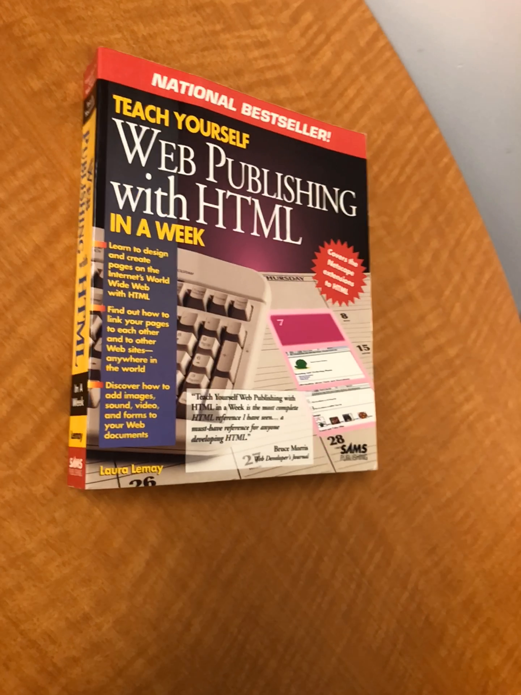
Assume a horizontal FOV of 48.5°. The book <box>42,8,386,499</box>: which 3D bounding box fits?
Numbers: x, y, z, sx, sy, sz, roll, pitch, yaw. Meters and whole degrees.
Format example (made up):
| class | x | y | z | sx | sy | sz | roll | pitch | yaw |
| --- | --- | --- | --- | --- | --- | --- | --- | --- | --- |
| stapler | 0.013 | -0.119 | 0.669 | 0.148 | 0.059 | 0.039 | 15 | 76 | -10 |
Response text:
| class | x | y | z | sx | sy | sz | roll | pitch | yaw |
| --- | --- | --- | --- | --- | --- | --- | --- | --- | --- |
| book | -0.016 | -0.044 | 0.359 | 0.211 | 0.040 | 0.250 | 5 | 80 | -33 |
